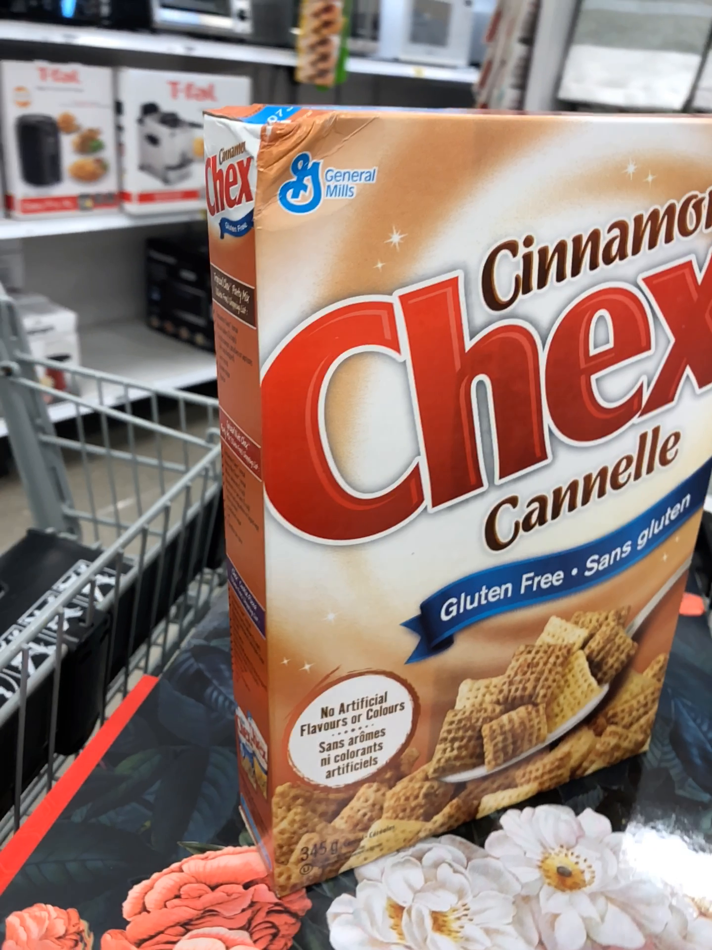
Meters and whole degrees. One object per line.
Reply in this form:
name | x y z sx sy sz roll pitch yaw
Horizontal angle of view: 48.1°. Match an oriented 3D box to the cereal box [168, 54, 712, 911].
cereal box | 0.044 0.002 0.296 0.200 0.259 0.060 -9 23 -28
